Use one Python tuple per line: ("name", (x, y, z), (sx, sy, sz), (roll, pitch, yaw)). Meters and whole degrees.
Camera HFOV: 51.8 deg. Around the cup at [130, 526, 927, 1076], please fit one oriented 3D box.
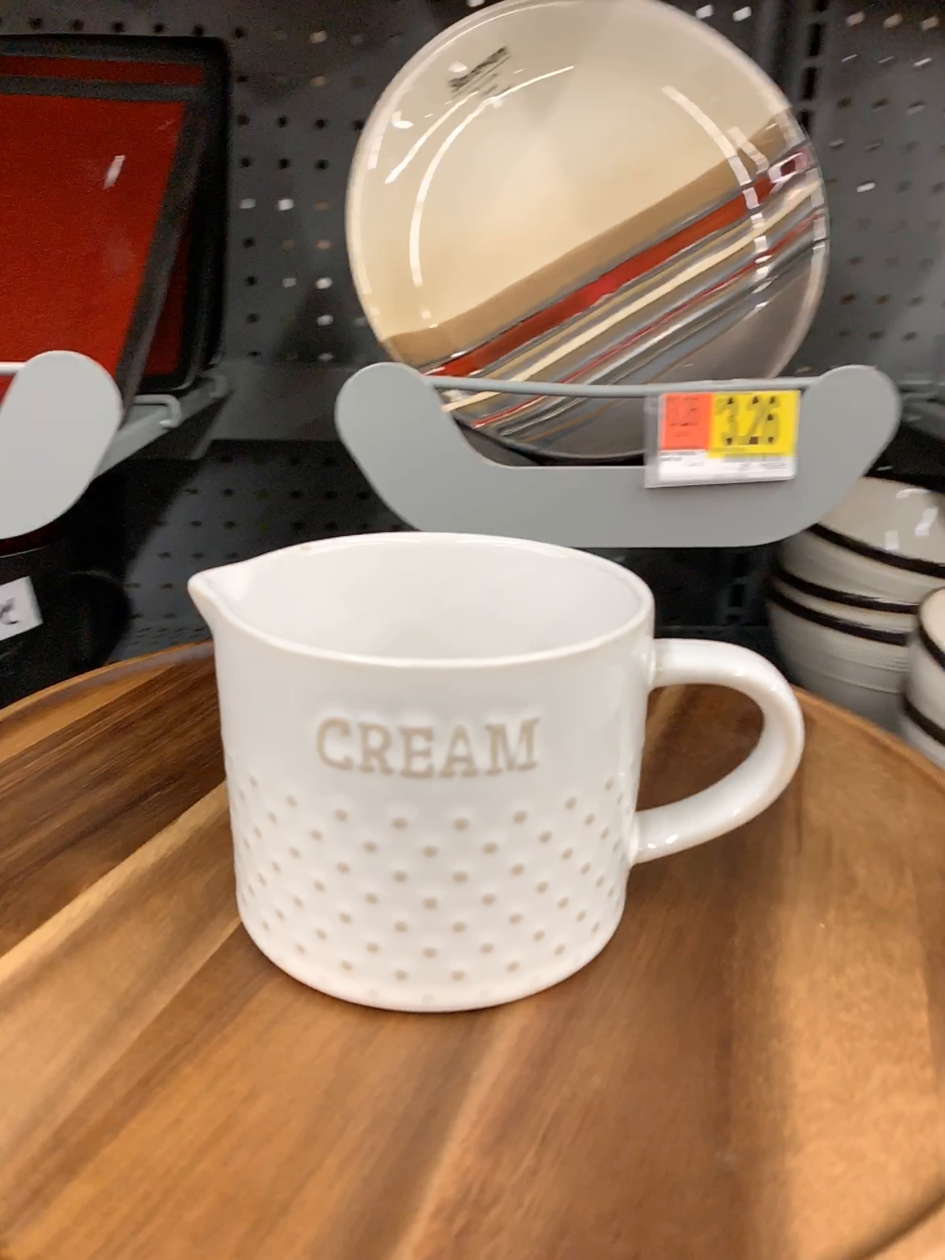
("cup", (0.010, 0.034, 0.246), (0.150, 0.090, 0.100), (3, 21, 2))
